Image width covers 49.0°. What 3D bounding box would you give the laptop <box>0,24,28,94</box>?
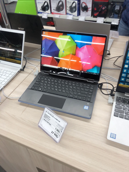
[{"bbox_3d":[-0.421,-0.169,0.772,0.292,0.171,0.324,14,45,14],"label":"laptop"}]

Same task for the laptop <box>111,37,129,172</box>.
[{"bbox_3d":[0.375,0.031,0.467,0.351,0.218,0.331,13,44,17],"label":"laptop"}]

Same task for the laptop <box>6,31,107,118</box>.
[{"bbox_3d":[-0.008,-0.082,0.646,0.326,0.194,0.327,11,43,15],"label":"laptop"}]
